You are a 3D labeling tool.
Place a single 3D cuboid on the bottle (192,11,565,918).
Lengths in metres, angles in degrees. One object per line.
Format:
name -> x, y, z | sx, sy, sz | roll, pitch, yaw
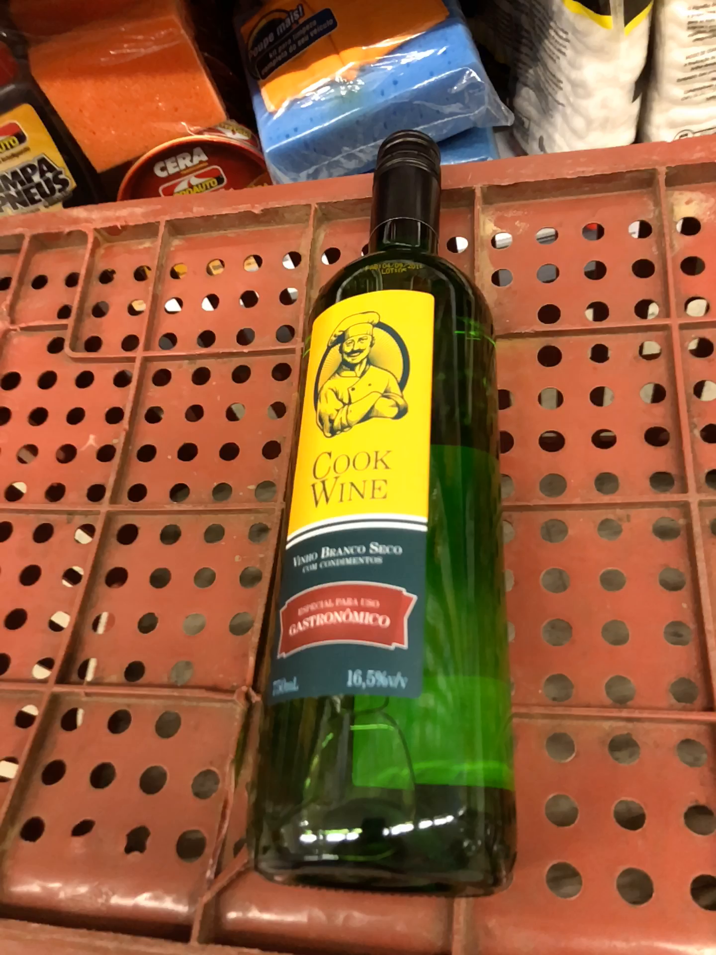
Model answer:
bottle -> 0.016, -0.030, 0.282 | 0.080, 0.060, 0.321 | -9, 59, 21
